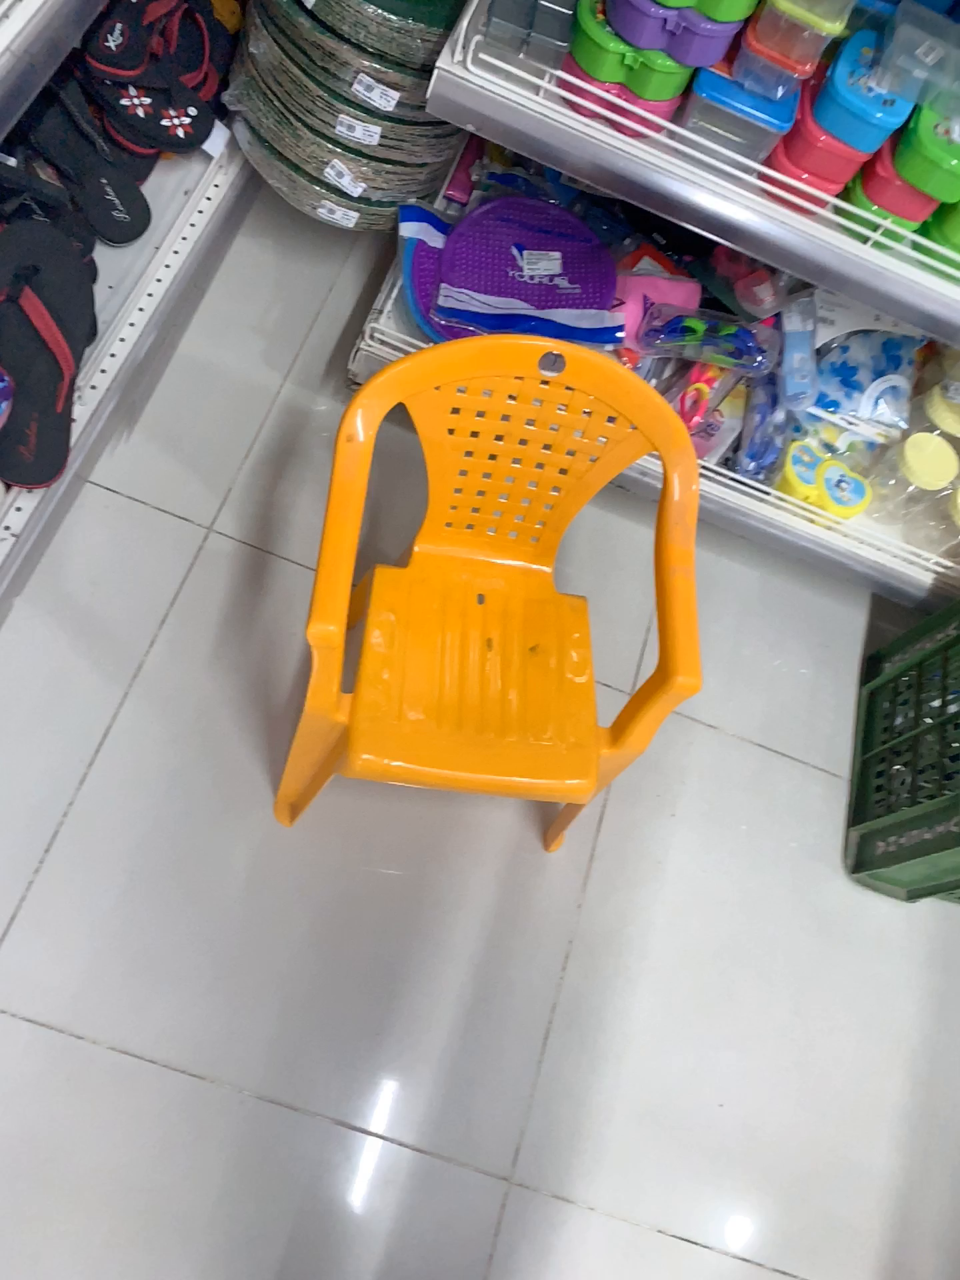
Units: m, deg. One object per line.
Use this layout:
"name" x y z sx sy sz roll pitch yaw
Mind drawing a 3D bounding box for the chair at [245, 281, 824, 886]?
"chair" 0.011 0.000 0.937 0.400 0.459 0.360 9 66 -11
